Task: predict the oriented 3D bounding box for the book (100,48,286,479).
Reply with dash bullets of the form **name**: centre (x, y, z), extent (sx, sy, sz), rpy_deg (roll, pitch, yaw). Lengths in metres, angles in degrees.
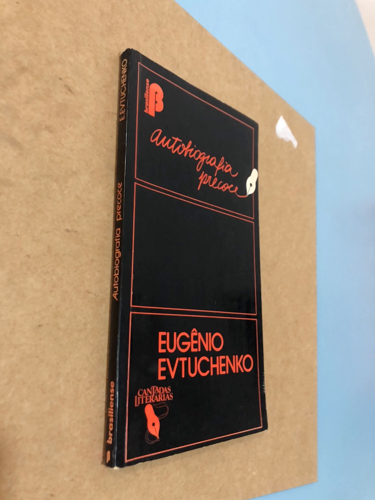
- **book**: centre (0.010, 0.005, 0.227), extent (0.115, 0.016, 0.190), rpy_deg (12, 73, -43)
